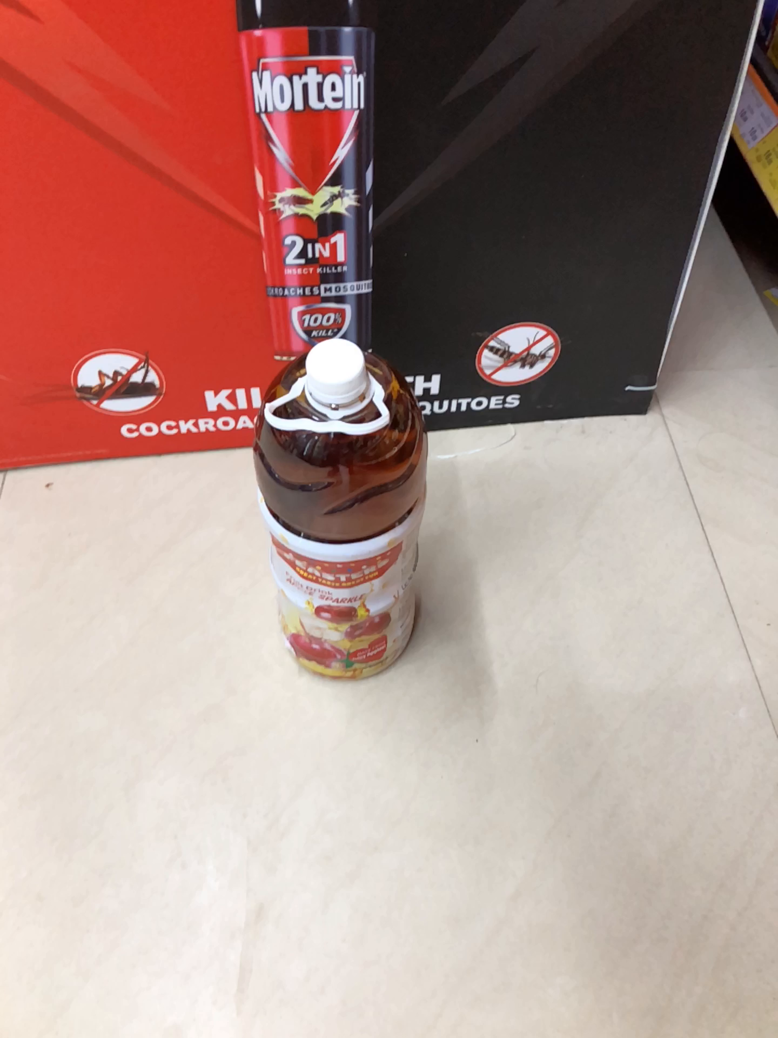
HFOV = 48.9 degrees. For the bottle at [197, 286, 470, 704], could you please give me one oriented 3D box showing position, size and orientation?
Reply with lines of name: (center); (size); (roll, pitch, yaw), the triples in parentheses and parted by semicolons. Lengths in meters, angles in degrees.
bottle: (-0.025, 0.004, 0.538); (0.120, 0.279, 0.101); (7, 54, 4)
